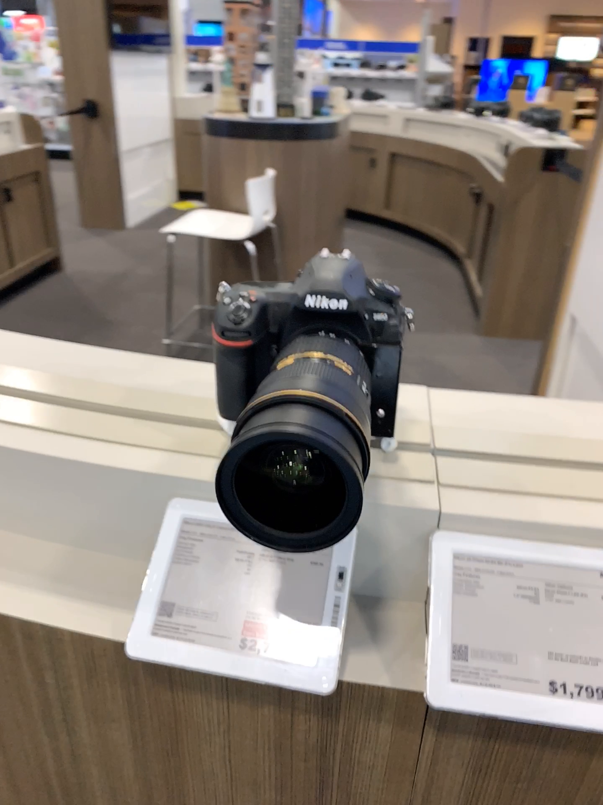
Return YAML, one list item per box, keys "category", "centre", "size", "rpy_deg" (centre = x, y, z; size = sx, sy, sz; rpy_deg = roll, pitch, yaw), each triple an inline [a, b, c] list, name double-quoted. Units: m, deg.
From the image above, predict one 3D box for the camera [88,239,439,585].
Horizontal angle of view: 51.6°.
- category: "camera"
  centre: [-0.003, -0.019, 0.409]
  size: [0.160, 0.109, 0.241]
  rpy_deg: [5, 28, 7]
